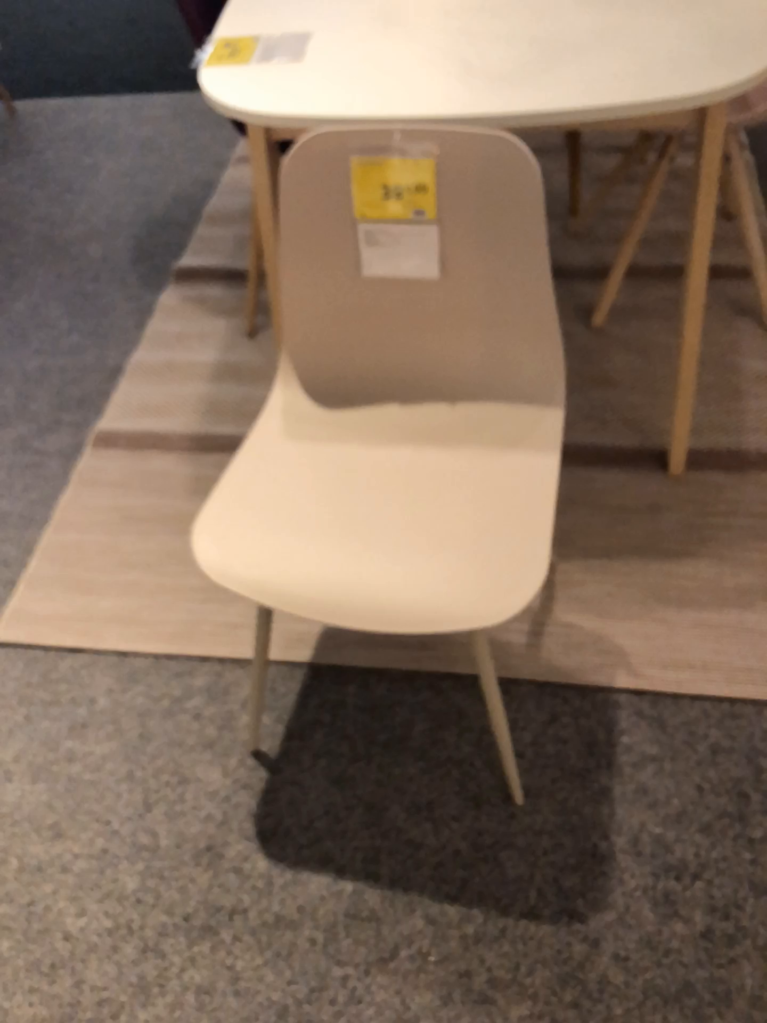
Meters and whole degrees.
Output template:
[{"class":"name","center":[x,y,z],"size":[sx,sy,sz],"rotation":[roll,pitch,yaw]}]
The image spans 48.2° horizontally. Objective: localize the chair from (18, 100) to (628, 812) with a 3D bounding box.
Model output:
[{"class":"chair","center":[0.019,-0.037,1.129],"size":[0.500,0.766,0.503],"rotation":[5,50,12]}]
